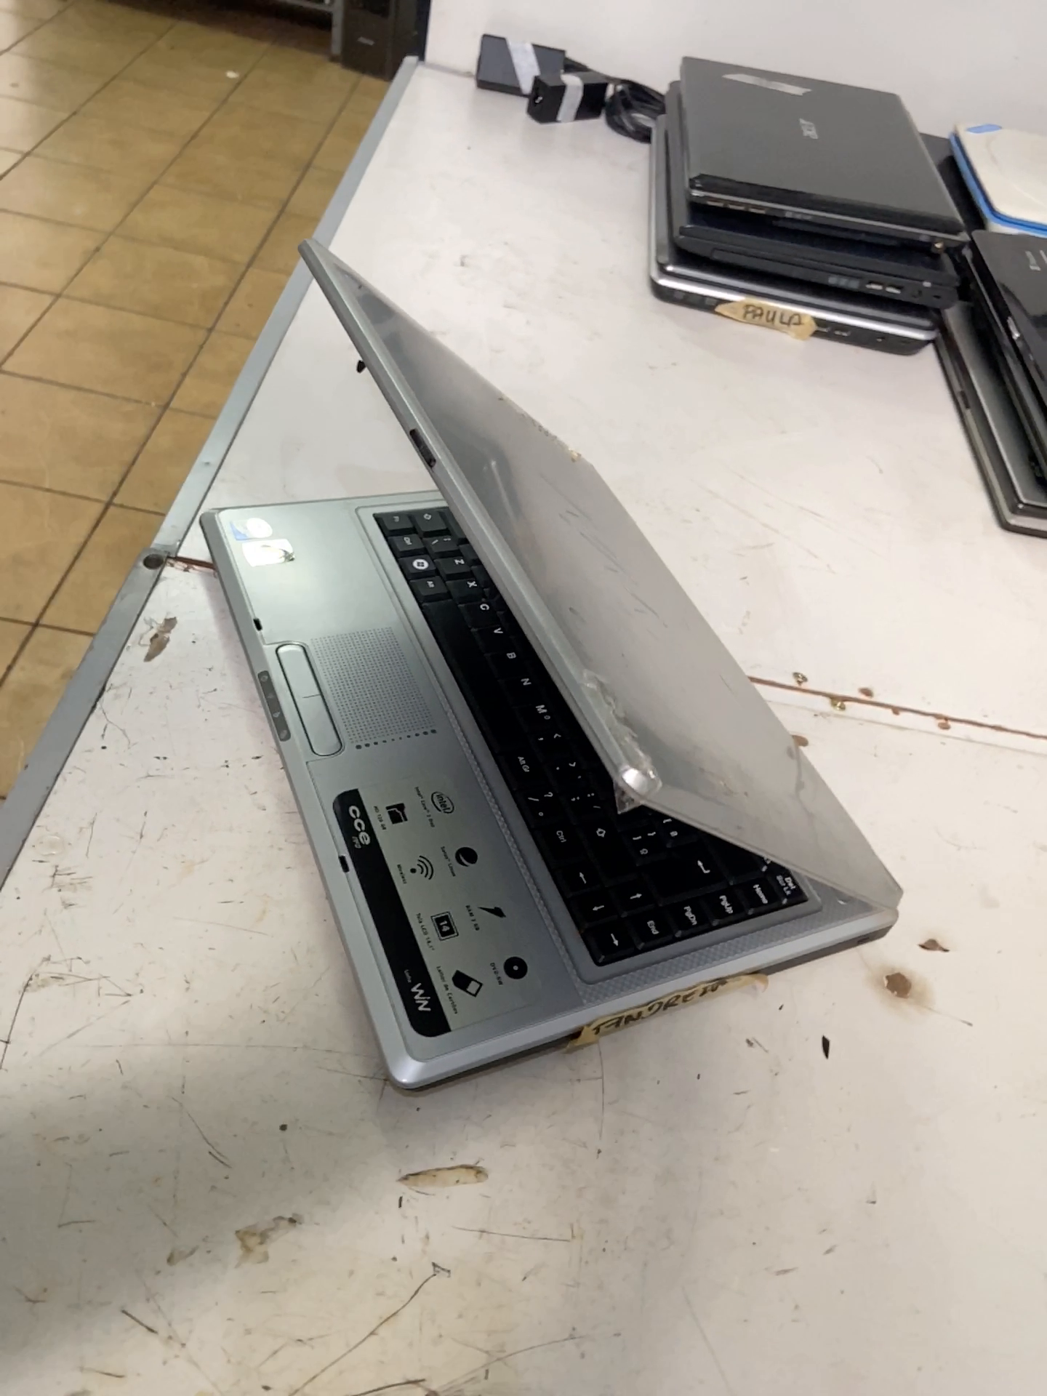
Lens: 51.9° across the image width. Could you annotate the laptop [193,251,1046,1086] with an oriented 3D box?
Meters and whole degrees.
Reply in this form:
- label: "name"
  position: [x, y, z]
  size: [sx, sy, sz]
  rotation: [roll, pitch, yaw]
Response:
- label: "laptop"
  position: [0.011, -0.050, 0.489]
  size: [0.243, 0.153, 0.337]
  rotation: [-11, 50, -24]
